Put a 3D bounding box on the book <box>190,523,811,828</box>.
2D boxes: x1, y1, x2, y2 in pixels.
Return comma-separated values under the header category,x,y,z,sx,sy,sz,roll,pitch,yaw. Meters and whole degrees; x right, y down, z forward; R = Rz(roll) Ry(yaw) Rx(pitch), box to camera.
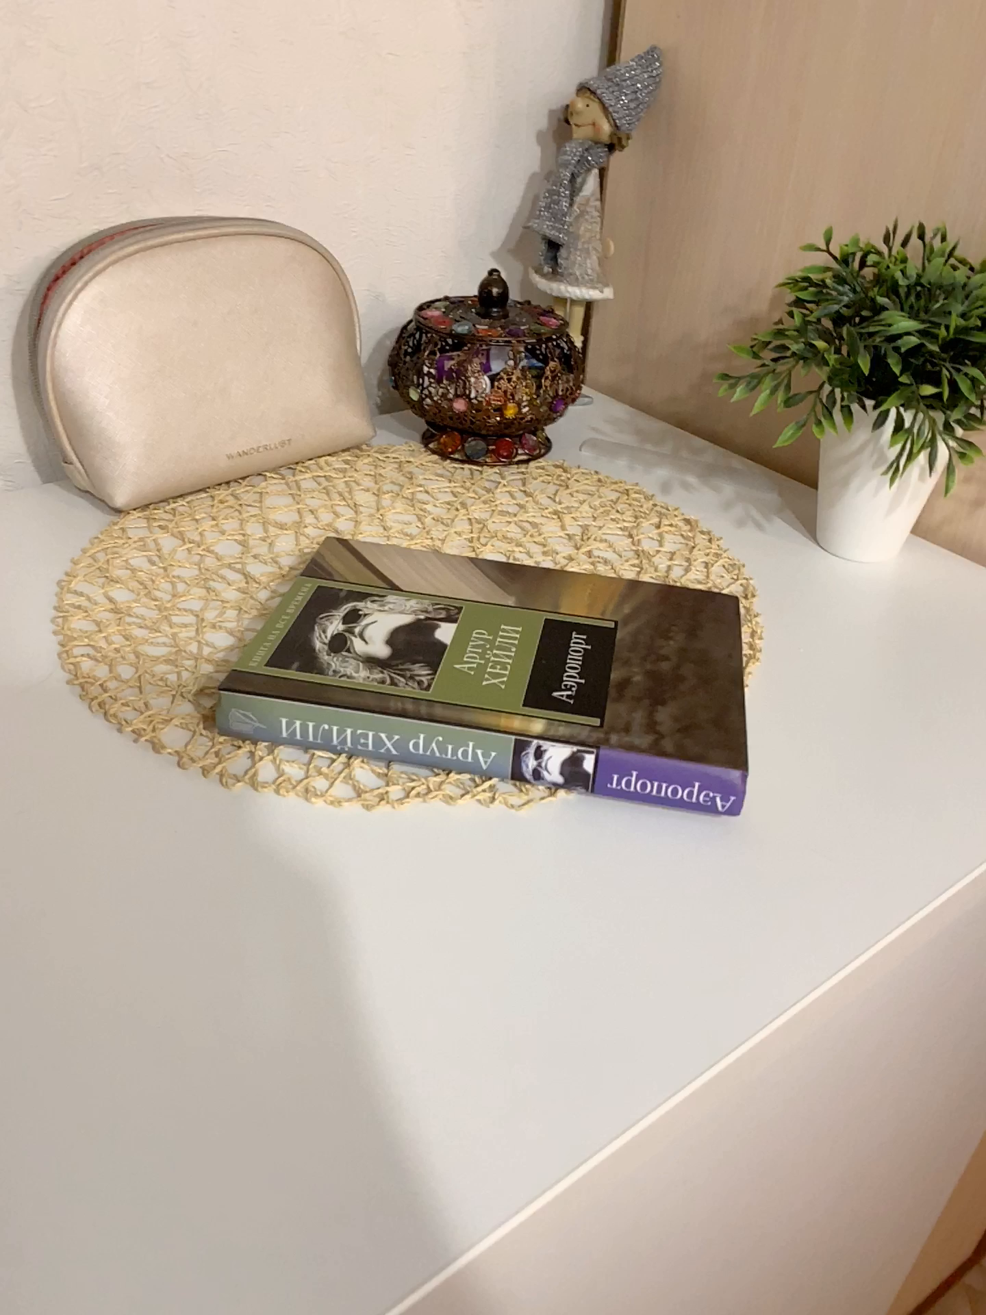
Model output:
category,x,y,z,sx,sy,sz,roll,pitch,yaw
book,0.011,-0.003,0.435,0.230,0.020,0.151,8,34,7
